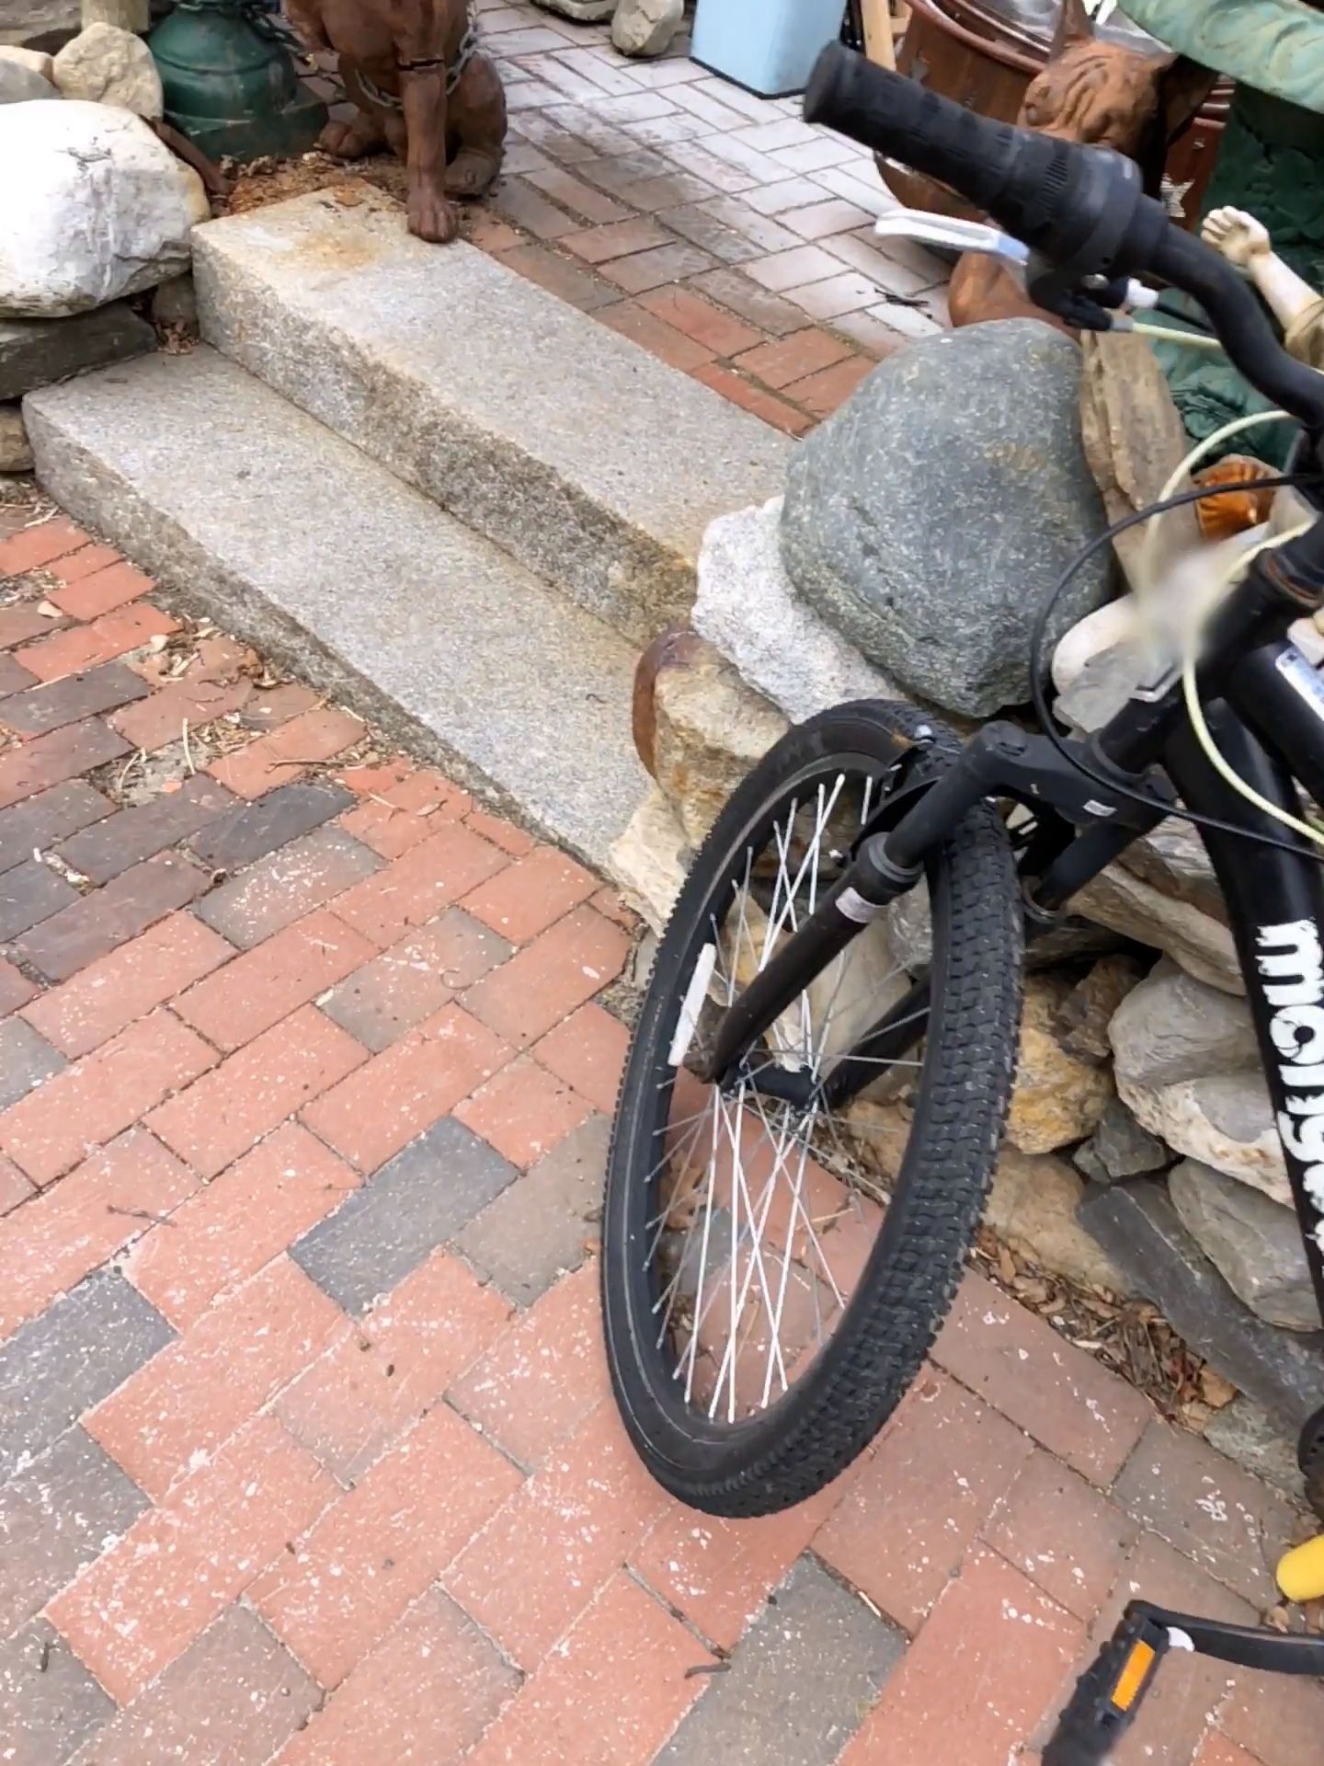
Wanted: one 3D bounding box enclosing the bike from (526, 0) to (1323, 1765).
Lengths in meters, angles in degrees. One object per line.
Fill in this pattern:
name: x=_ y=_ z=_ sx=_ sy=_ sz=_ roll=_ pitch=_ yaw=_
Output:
bike: x=0.621 y=0.207 z=0.875 sx=0.635 sy=0.872 sz=1.412 roll=-30 pitch=59 yaw=-34
